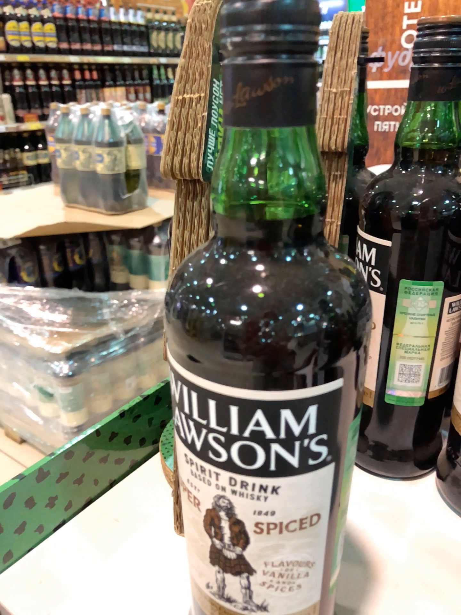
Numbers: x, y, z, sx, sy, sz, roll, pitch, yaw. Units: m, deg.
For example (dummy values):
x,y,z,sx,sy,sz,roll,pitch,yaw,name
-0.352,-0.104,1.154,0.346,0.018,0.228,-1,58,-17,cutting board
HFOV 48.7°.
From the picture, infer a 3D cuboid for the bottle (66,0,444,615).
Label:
x,y,z,sx,sy,sz,roll,pitch,yaw,name
0.016,0.037,0.209,0.080,0.298,0.090,11,26,27,bottle
